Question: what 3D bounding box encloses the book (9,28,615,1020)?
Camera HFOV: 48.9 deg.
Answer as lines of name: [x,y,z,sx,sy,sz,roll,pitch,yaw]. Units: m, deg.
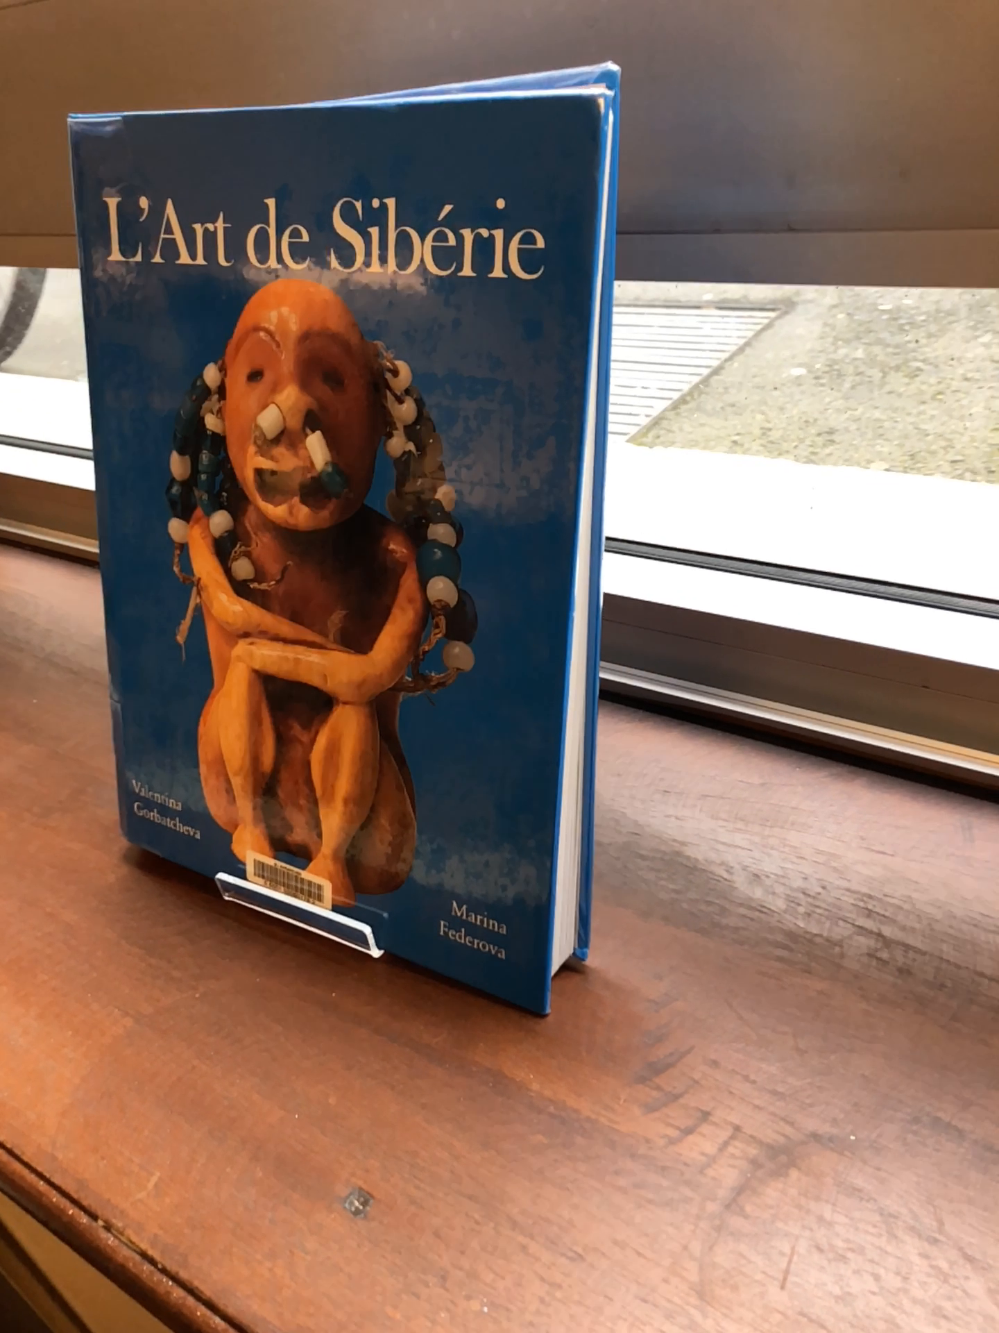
book: [-0.081,-0.052,0.462,0.254,0.349,0.044,11,22,30]
